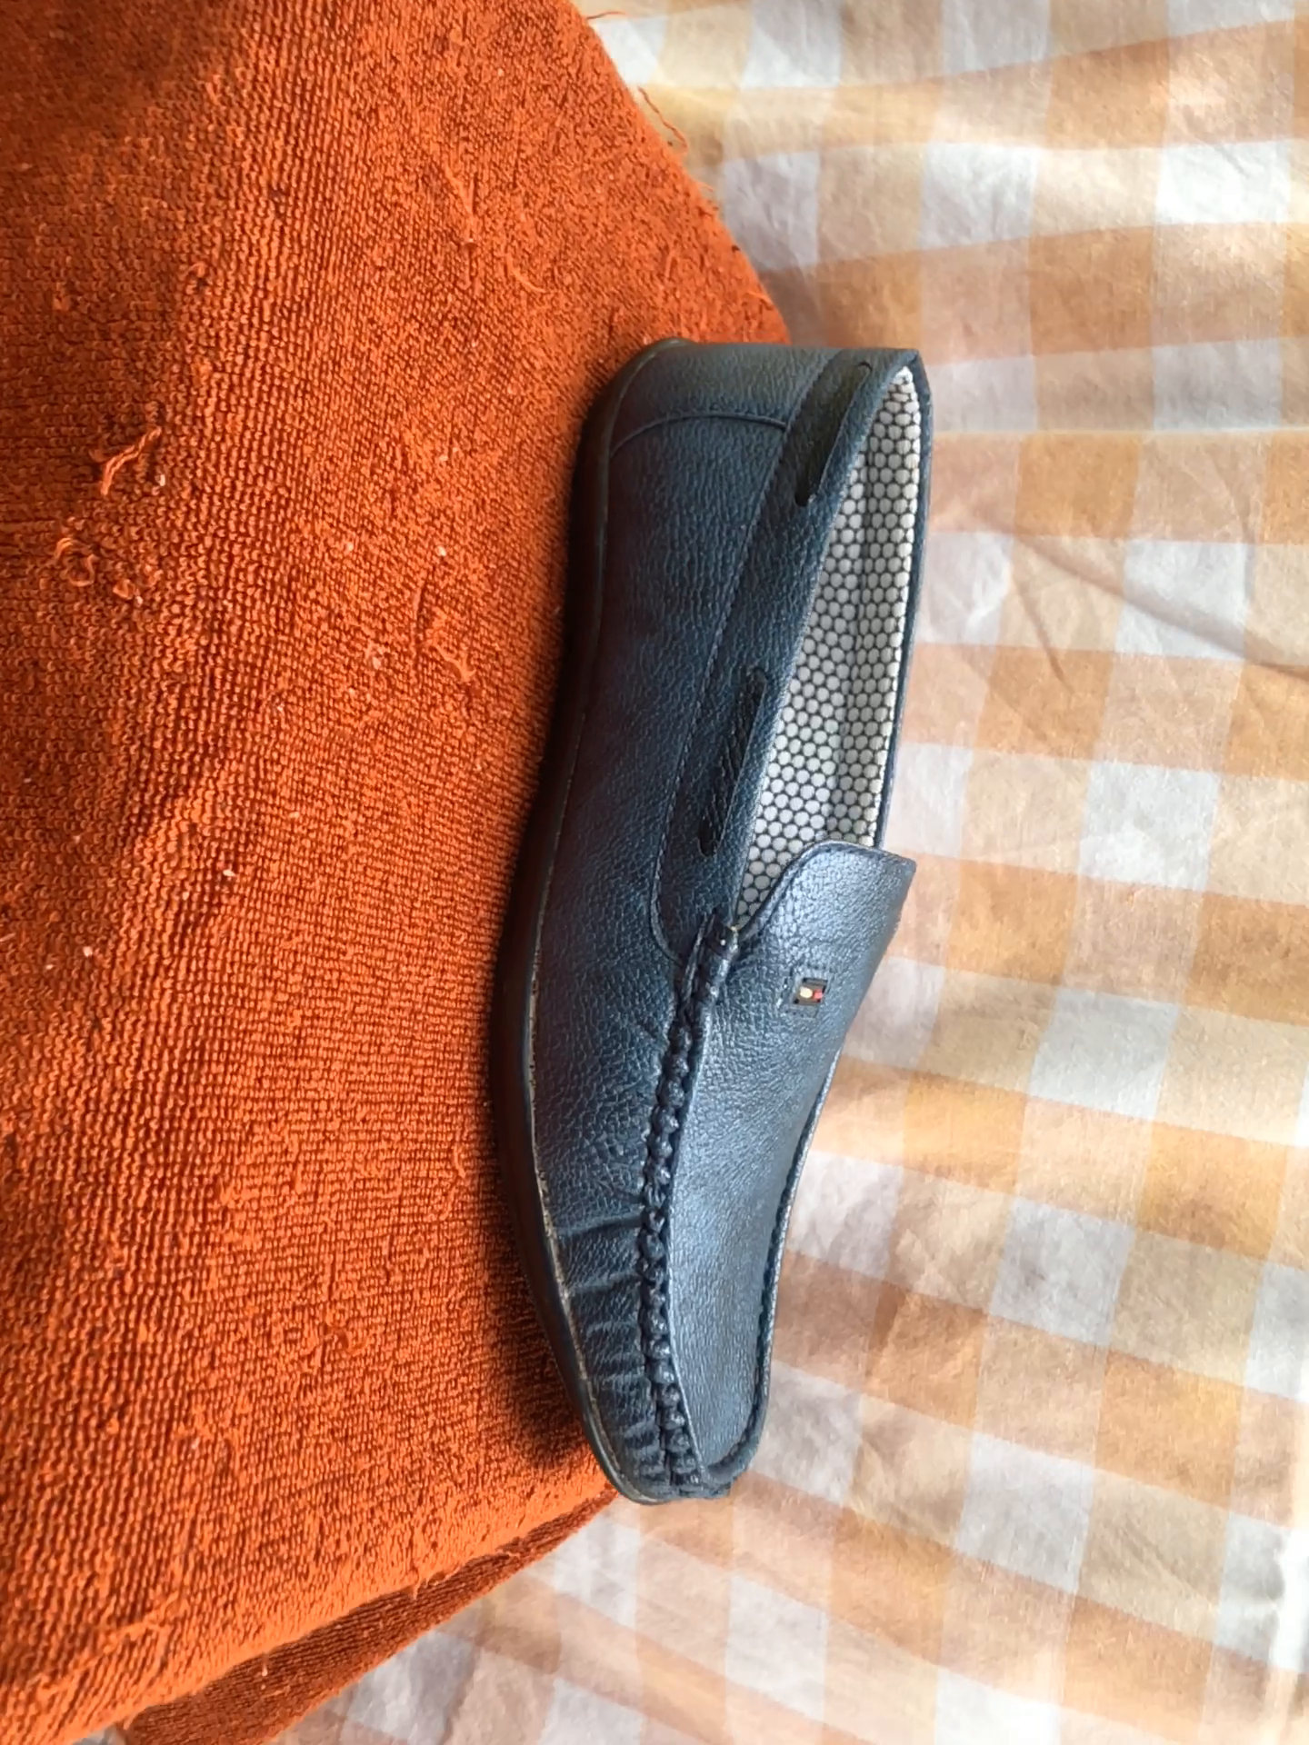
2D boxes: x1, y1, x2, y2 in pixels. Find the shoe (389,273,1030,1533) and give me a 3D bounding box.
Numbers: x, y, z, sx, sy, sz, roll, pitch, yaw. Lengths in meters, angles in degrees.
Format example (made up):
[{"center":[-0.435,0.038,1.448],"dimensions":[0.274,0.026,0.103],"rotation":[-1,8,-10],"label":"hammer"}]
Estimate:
[{"center":[0.023,0.004,0.359],"dimensions":[0.101,0.089,0.260],"rotation":[25,72,-63],"label":"shoe"}]
